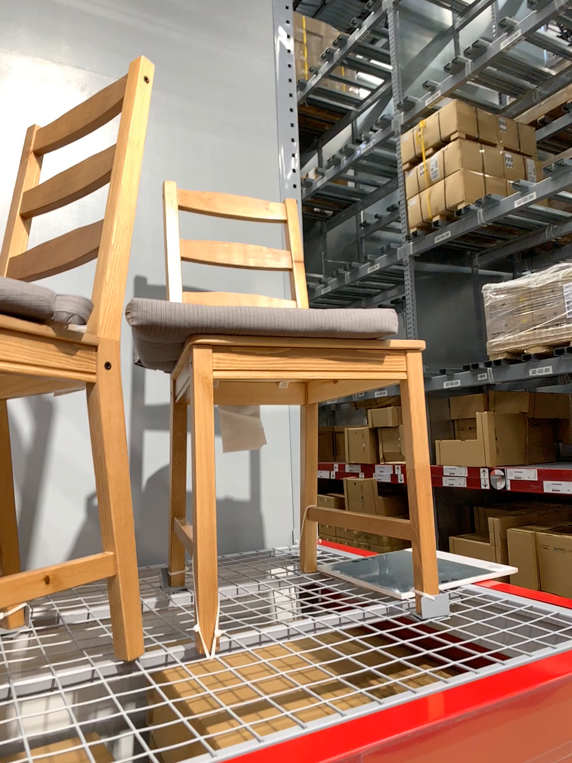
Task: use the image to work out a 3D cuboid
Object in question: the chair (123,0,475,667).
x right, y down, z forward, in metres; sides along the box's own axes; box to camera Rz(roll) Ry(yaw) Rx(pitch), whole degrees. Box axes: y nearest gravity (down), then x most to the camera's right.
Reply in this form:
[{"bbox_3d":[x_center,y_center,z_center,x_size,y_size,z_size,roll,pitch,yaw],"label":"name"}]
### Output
[{"bbox_3d":[-0.031,-0.074,1.084,0.440,0.912,0.499,1,-7,-25],"label":"chair"}]
